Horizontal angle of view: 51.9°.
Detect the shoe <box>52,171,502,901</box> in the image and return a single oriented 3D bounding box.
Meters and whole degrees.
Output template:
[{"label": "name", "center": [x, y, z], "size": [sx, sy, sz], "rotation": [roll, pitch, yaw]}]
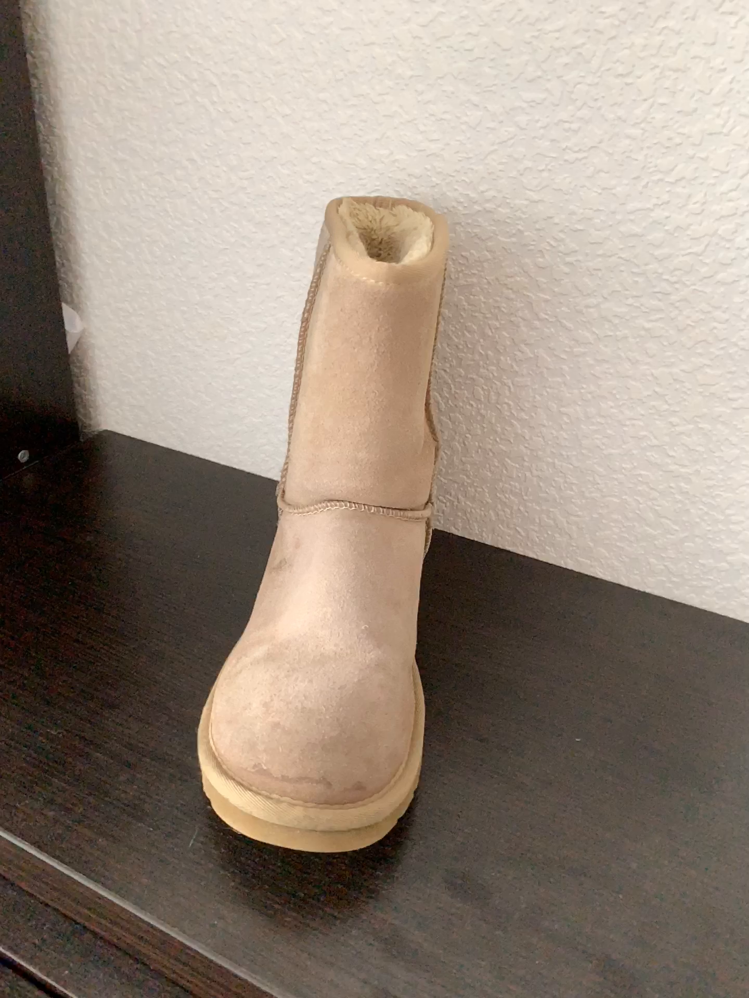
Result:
[{"label": "shoe", "center": [-0.014, -0.012, 0.365], "size": [0.116, 0.229, 0.261], "rotation": [7, 30, 6]}]
